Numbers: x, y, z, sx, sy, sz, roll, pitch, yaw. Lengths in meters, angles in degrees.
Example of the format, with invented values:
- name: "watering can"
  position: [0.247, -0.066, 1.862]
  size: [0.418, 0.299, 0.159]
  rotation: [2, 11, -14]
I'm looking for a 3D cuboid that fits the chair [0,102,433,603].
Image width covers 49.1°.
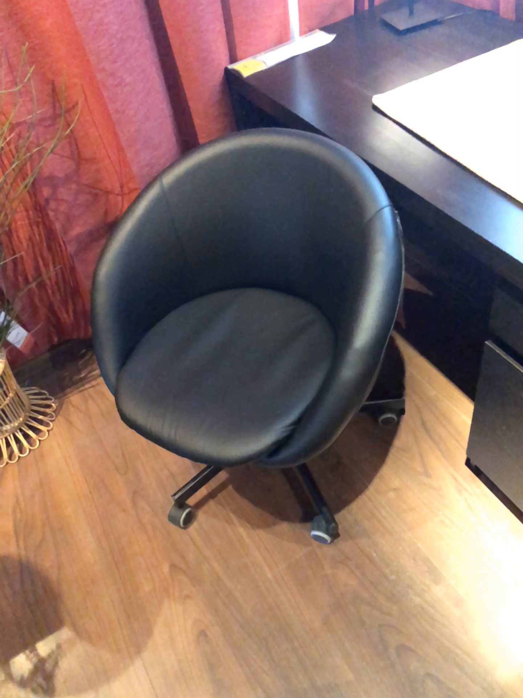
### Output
- name: "chair"
  position: [-0.065, -0.005, 1.156]
  size: [0.631, 0.696, 0.572]
  rotation: [14, 53, 23]
